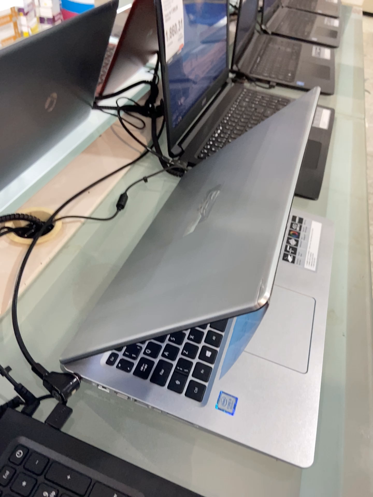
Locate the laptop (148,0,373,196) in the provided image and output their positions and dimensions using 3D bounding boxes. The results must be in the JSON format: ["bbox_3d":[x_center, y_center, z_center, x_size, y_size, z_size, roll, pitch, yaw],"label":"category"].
[{"bbox_3d":[0.145,-0.326,0.680,0.287,0.238,0.356,19,45,10],"label":"laptop"}]

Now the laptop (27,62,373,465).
[{"bbox_3d":[0.058,-0.028,0.407,0.236,0.175,0.354,18,44,9],"label":"laptop"}]
